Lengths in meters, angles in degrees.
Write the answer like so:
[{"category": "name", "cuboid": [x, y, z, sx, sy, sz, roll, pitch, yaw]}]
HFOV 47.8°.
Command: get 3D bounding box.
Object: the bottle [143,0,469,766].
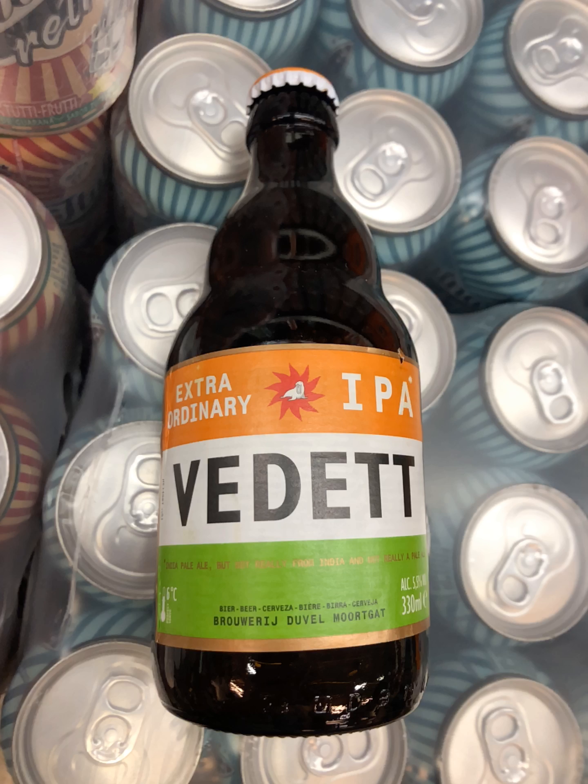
[{"category": "bottle", "cuboid": [-0.002, -0.015, 0.182, 0.070, 0.060, 0.190, 2, 82, -13]}]
